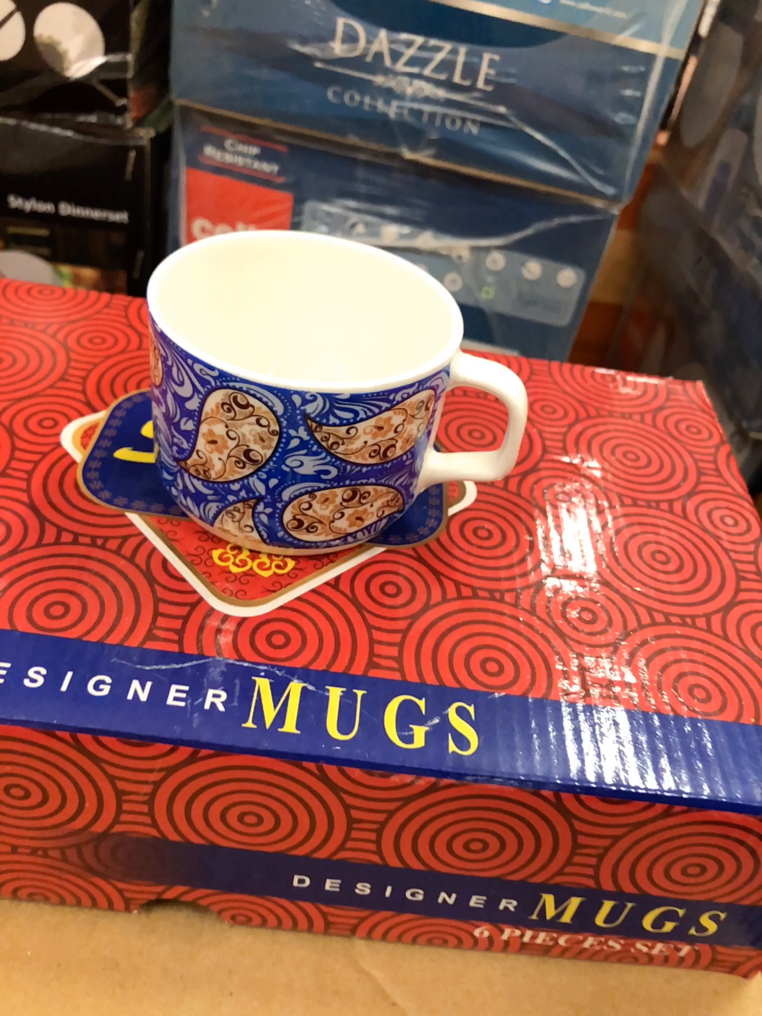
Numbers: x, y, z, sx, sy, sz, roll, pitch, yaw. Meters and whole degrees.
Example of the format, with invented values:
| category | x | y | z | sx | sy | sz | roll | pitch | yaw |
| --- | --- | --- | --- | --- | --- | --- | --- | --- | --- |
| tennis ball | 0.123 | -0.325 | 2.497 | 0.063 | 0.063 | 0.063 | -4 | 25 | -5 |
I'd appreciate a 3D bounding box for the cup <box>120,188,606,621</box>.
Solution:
| category | x | y | z | sx | sy | sz | roll | pitch | yaw |
| --- | --- | --- | --- | --- | --- | --- | --- | --- | --- |
| cup | -0.003 | -0.029 | 0.216 | 0.100 | 0.060 | 0.071 | 14 | 38 | 2 |
